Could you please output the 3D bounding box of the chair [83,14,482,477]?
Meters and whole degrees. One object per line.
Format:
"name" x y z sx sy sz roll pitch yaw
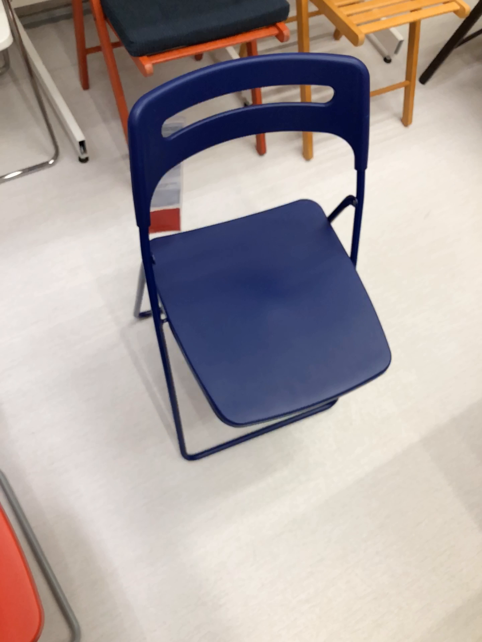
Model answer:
"chair" 0.038 -0.076 1.042 0.461 0.697 0.501 -18 69 -15
